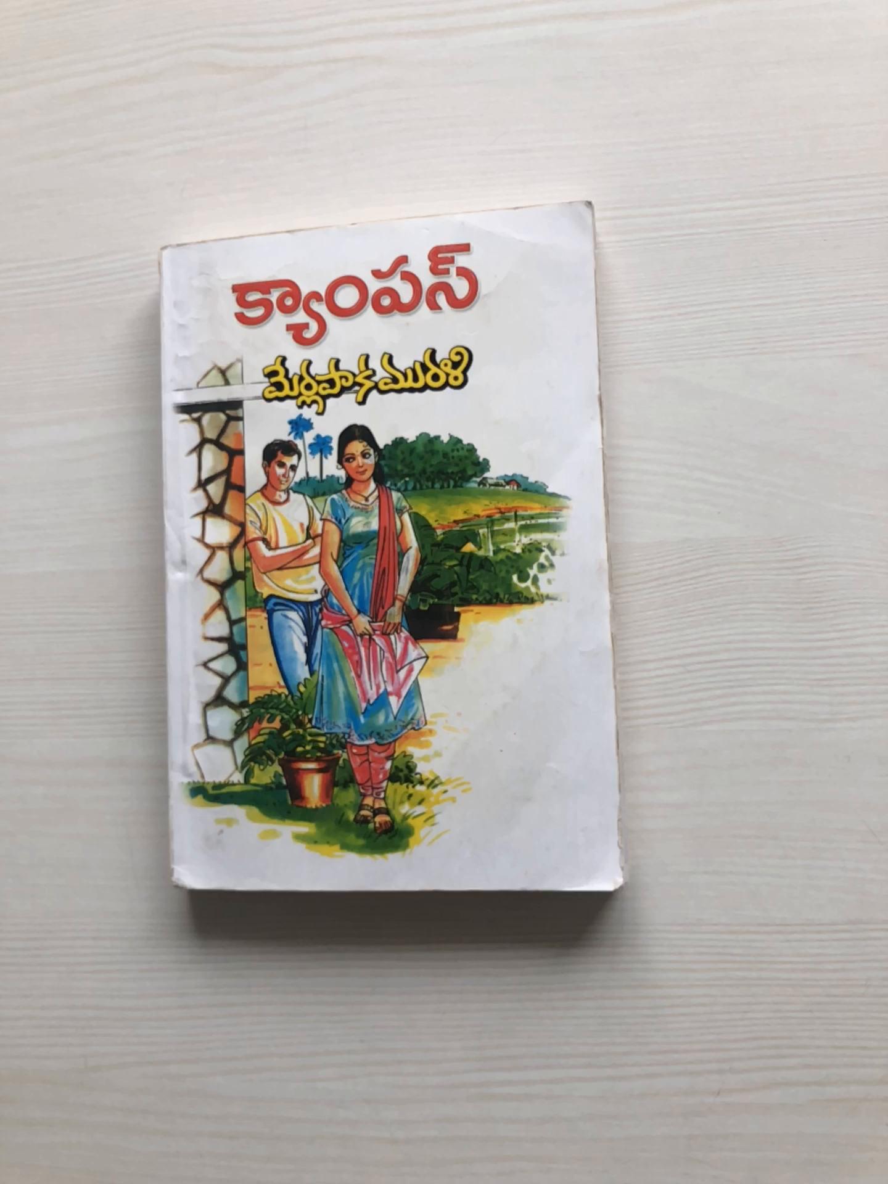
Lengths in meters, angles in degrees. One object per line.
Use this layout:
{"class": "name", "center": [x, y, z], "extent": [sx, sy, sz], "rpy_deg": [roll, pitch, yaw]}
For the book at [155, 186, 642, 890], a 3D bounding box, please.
{"class": "book", "center": [-0.013, -0.011, 0.245], "extent": [0.113, 0.016, 0.163], "rpy_deg": [-3, 87, 8]}
